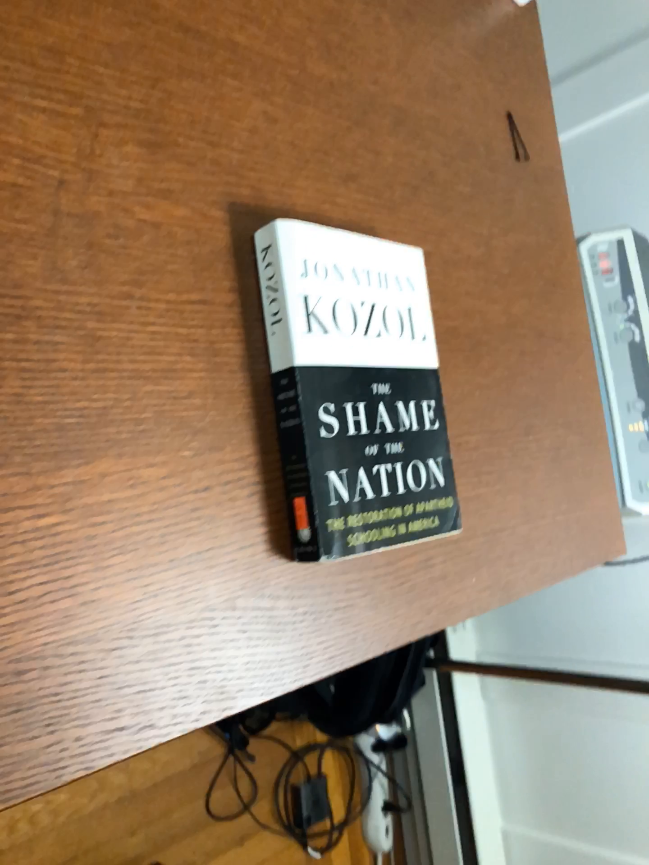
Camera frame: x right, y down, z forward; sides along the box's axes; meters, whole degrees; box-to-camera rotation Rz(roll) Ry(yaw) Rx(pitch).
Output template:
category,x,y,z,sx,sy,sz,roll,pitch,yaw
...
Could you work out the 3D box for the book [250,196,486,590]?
category,x,y,z,sx,sy,sz,roll,pitch,yaw
book,0.035,-0.026,0.481,0.161,0.030,0.230,-2,83,-45
